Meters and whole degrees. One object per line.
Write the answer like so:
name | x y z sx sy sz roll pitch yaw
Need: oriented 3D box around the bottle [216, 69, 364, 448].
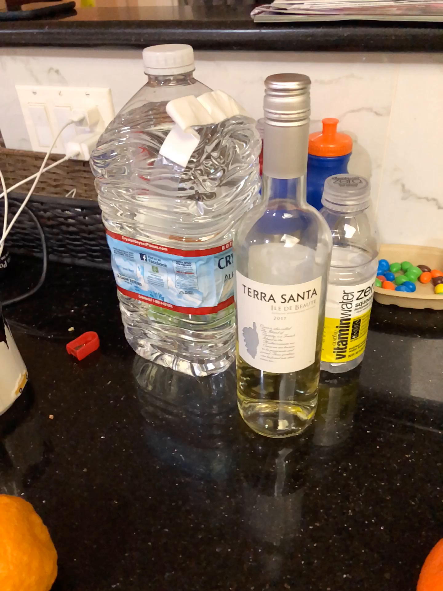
bottle | 0.047 -0.012 0.356 0.070 0.268 0.070 -2 35 1

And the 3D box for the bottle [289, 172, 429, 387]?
bottle | 0.112 -0.012 0.425 0.070 0.159 0.070 -2 35 1

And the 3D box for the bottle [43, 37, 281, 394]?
bottle | -0.034 -0.073 0.454 0.130 0.278 0.141 -2 35 1
